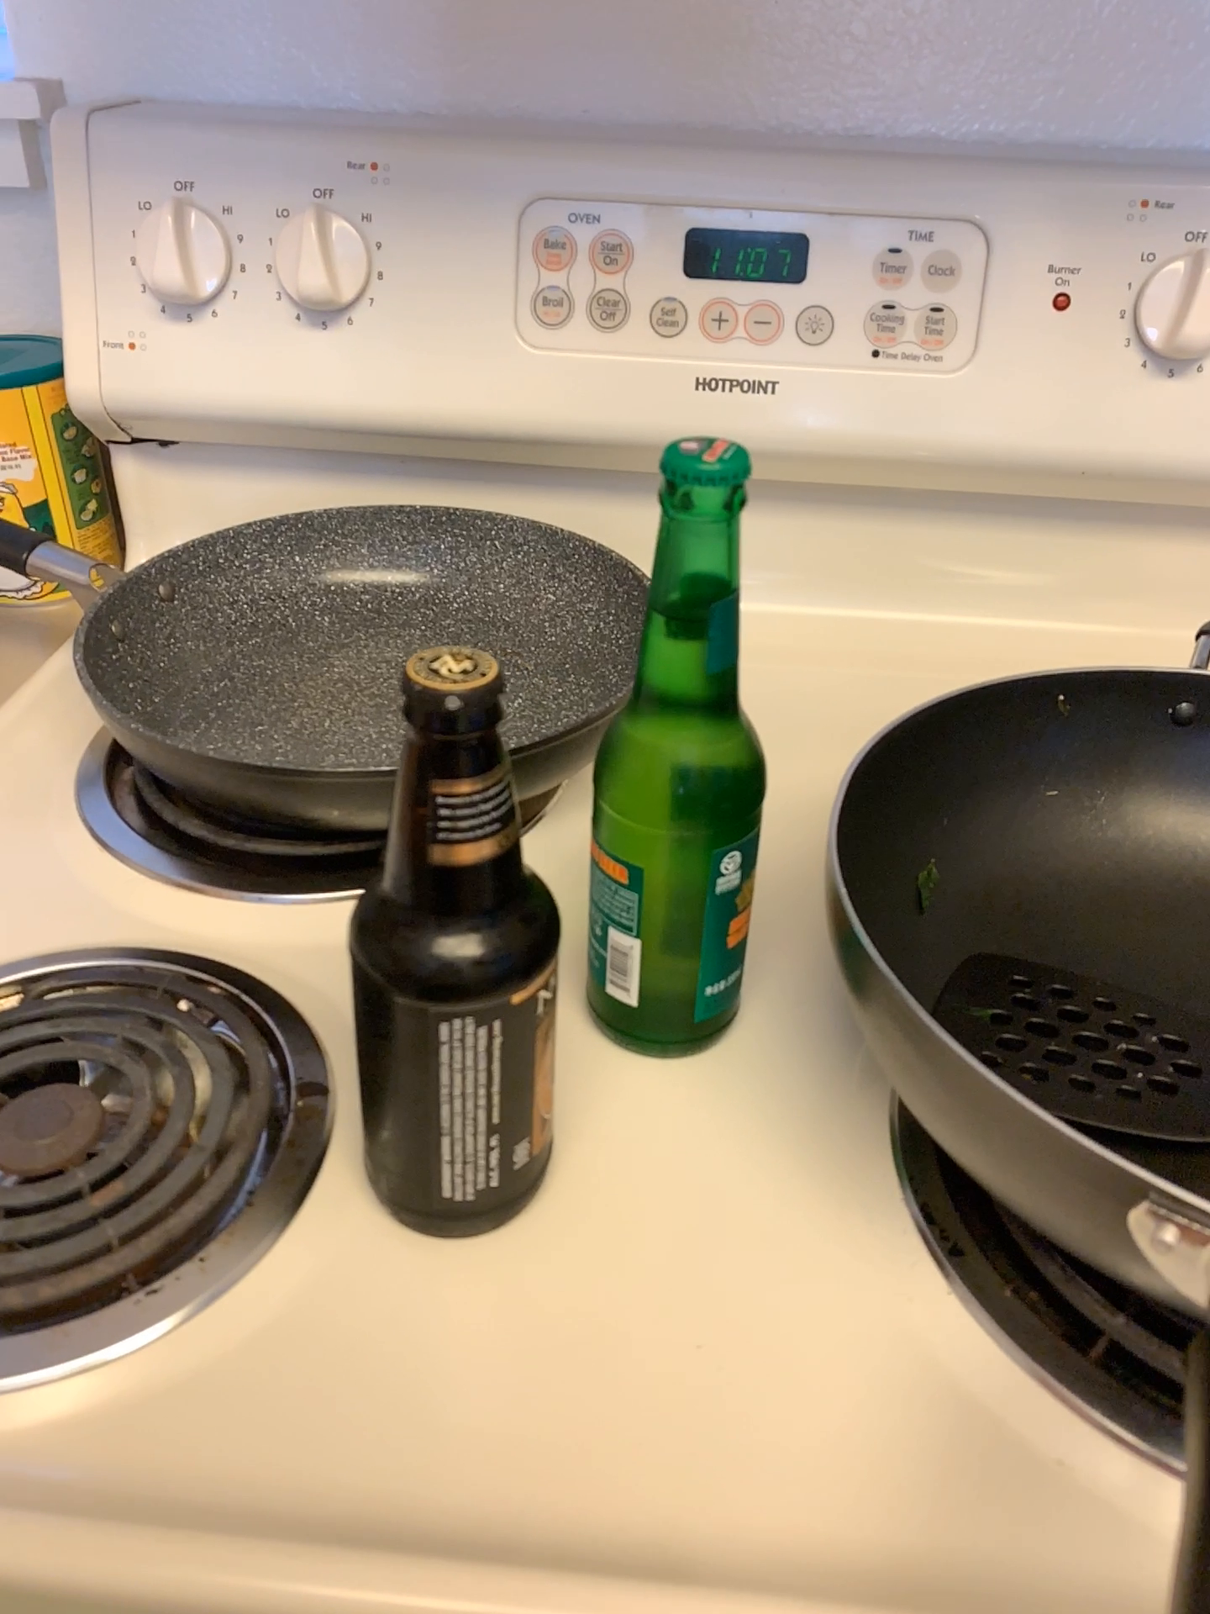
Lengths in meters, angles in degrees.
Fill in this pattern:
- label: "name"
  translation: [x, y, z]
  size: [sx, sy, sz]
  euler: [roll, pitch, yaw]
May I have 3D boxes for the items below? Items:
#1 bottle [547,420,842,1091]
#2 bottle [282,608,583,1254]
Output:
- label: "bottle"
  translation: [0.023, -0.011, 0.412]
  size: [0.060, 0.209, 0.060]
  euler: [1, 33, -1]
- label: "bottle"
  translation: [-0.045, 0.042, 0.372]
  size: [0.070, 0.189, 0.070]
  euler: [1, 33, -1]
